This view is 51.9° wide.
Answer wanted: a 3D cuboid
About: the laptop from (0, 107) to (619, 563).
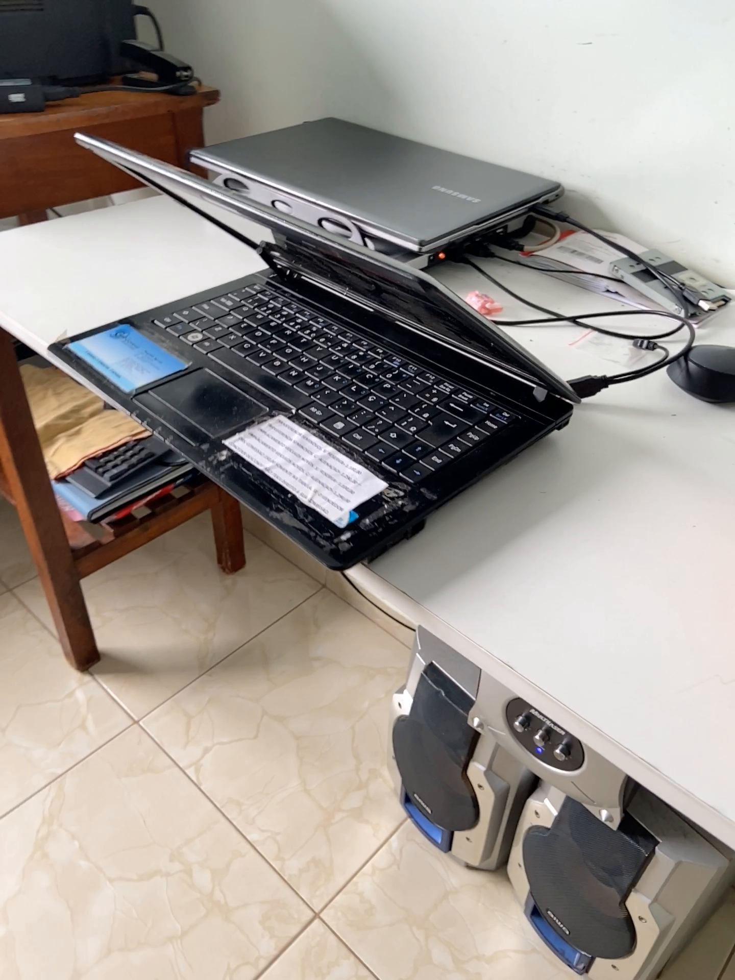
[{"bbox_3d":[-0.052,-0.141,0.519,0.228,0.144,0.336,-30,48,-34],"label":"laptop"}]
